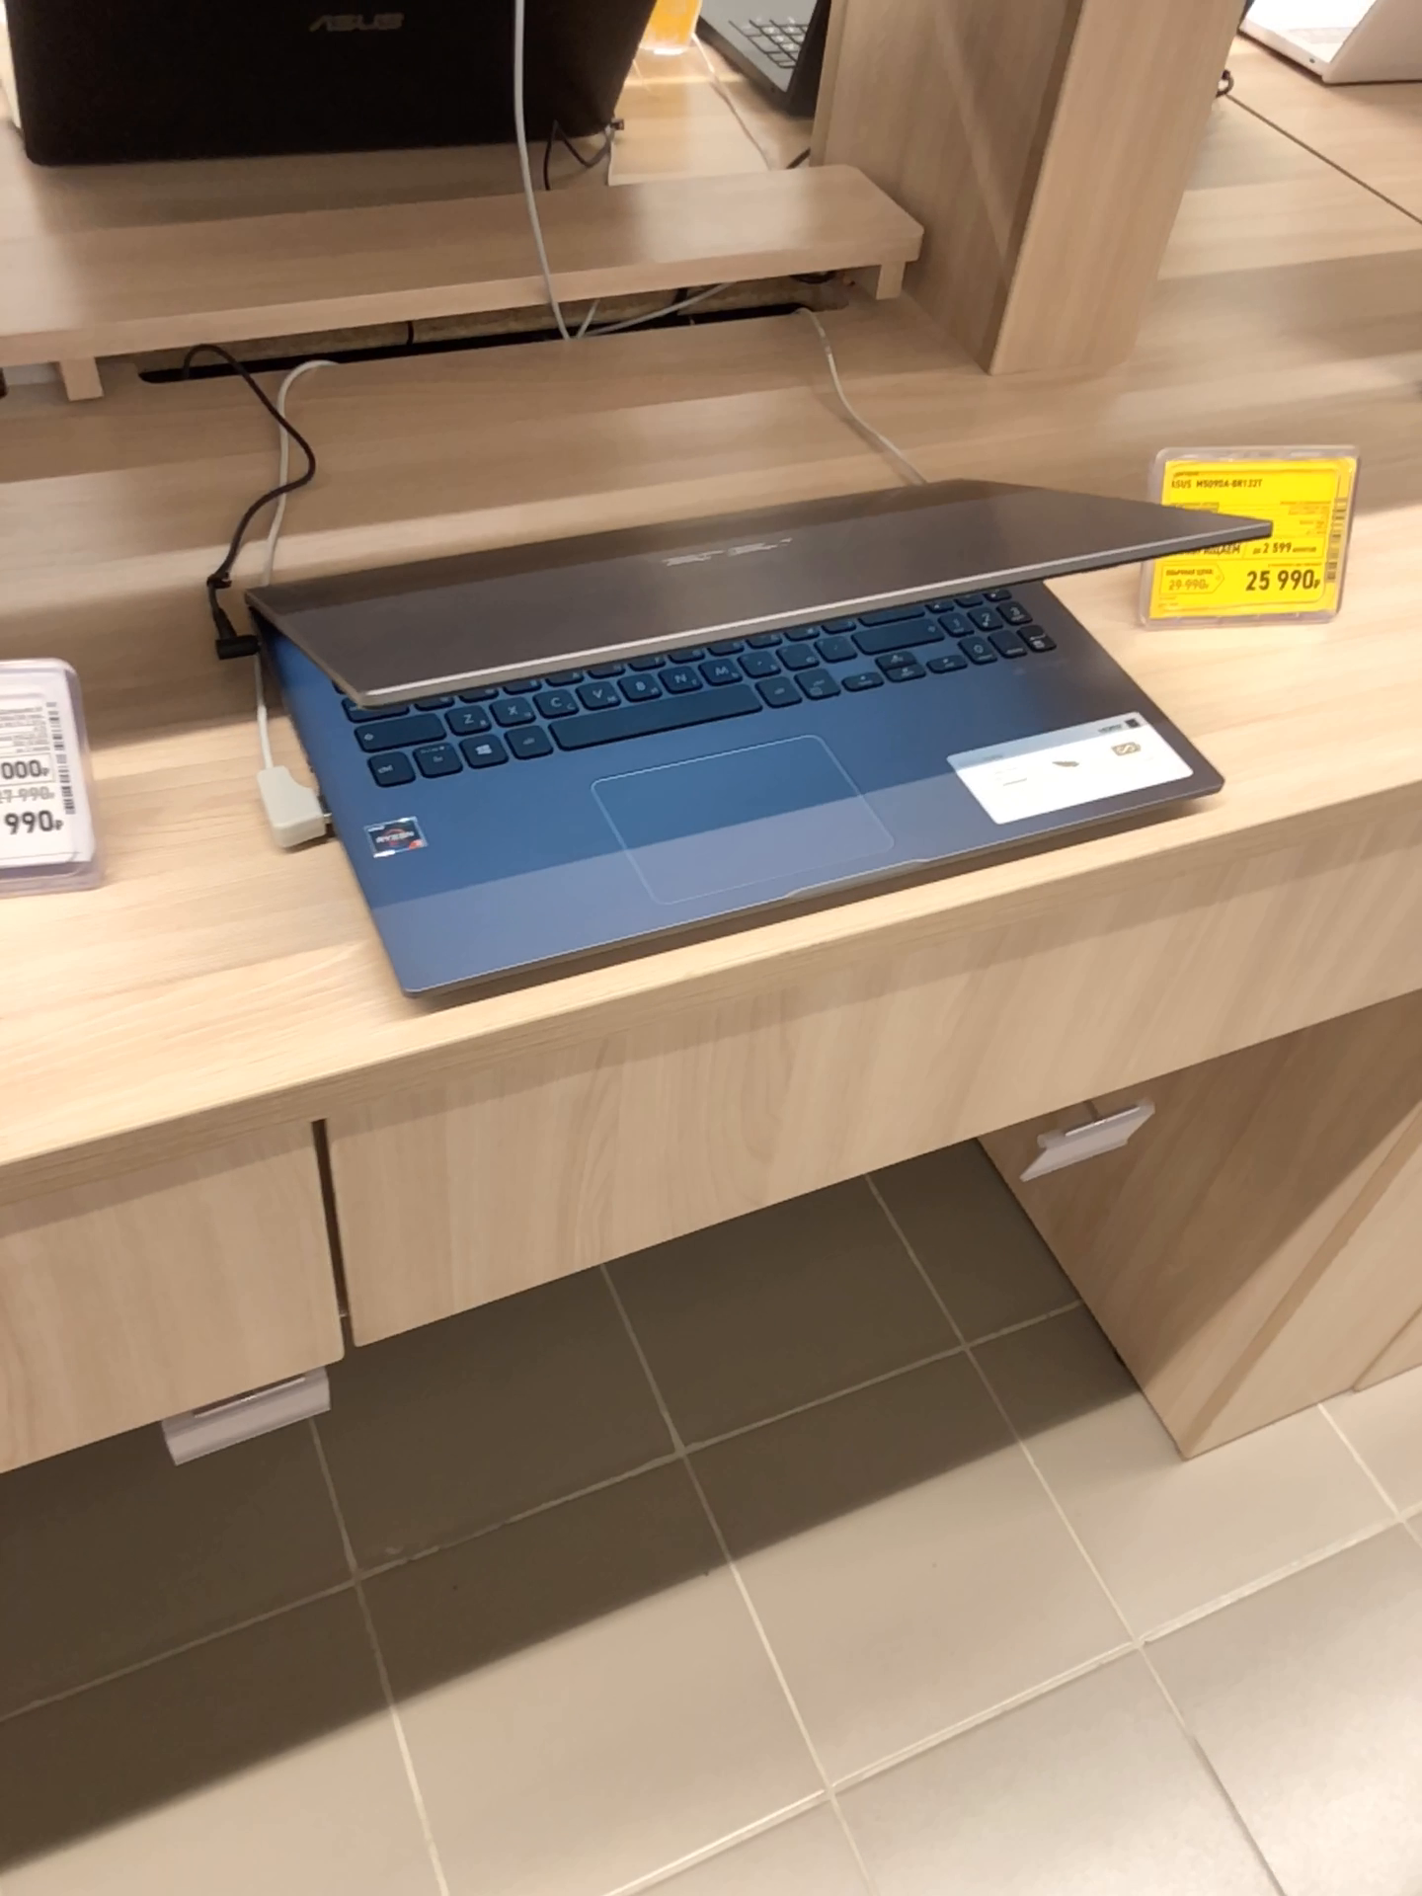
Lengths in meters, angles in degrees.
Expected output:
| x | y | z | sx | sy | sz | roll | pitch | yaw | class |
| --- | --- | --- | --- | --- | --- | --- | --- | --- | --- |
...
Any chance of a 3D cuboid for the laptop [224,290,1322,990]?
| x | y | z | sx | sy | sz | roll | pitch | yaw | class |
| --- | --- | --- | --- | --- | --- | --- | --- | --- | --- |
| 0.013 | -0.144 | 0.629 | 0.349 | 0.111 | 0.233 | -14 | 50 | -20 | laptop |
